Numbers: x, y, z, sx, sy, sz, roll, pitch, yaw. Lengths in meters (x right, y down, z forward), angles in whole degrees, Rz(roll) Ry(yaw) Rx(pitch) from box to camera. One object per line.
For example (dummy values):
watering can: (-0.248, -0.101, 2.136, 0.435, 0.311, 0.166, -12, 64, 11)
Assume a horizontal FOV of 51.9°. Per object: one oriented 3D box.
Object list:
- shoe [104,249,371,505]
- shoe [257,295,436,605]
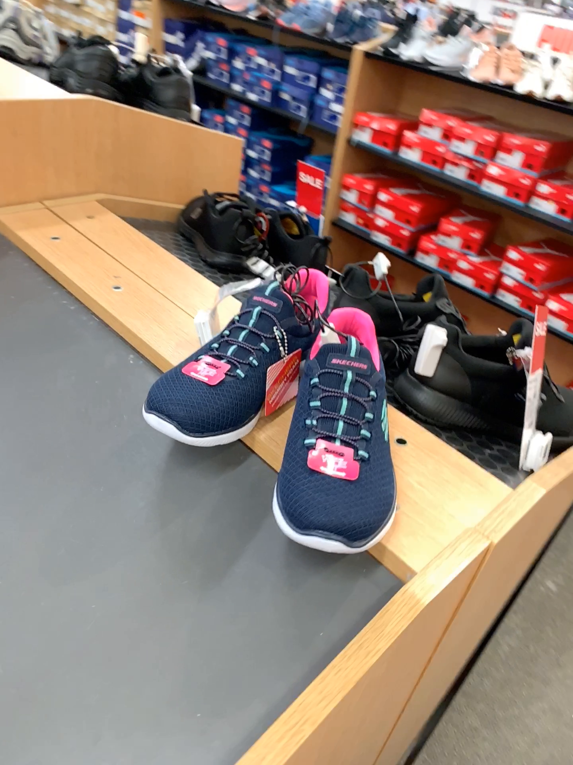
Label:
shoe: (-0.033, -0.023, 0.542, 0.110, 0.099, 0.251, 25, 38, 20)
shoe: (0.052, 0.035, 0.492, 0.100, 0.089, 0.261, 11, 36, 1)
